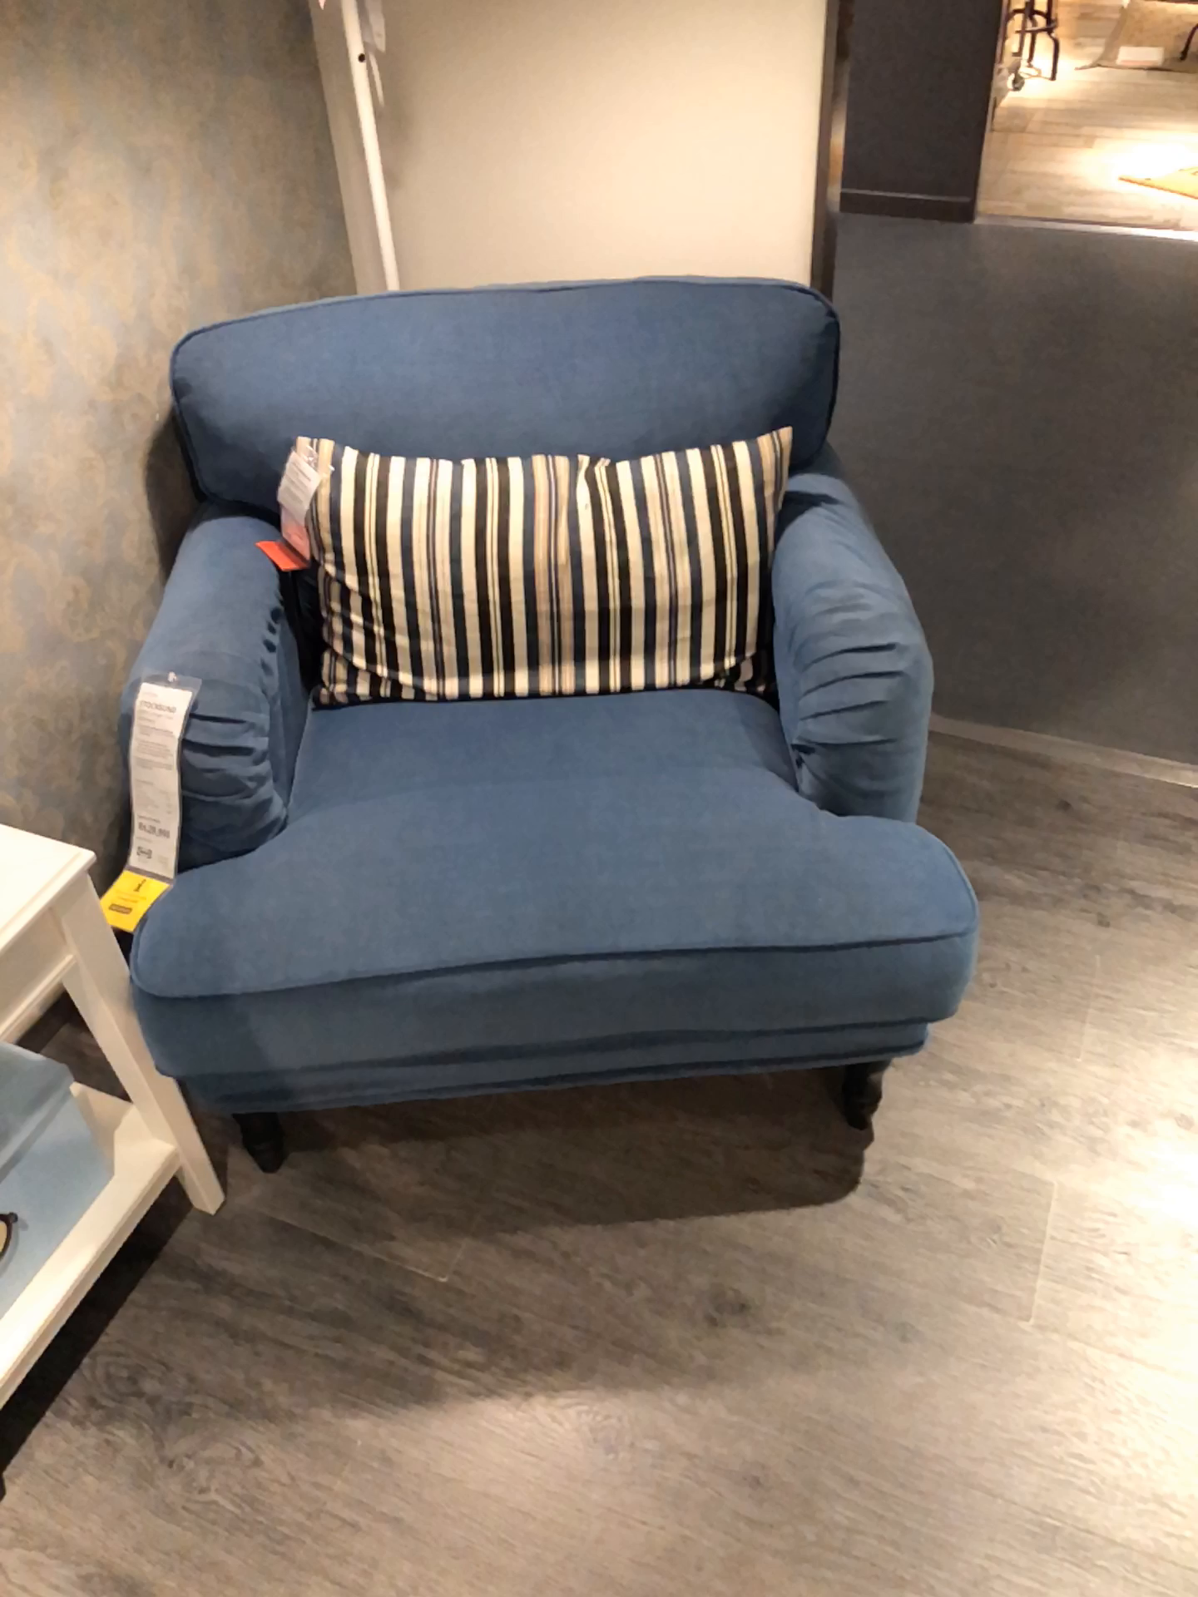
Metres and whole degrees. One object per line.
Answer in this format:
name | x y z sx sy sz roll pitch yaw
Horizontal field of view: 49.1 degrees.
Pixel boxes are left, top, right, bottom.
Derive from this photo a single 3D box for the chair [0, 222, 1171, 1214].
chair | -0.042 -0.121 1.467 0.890 0.695 0.805 -4 41 -1
